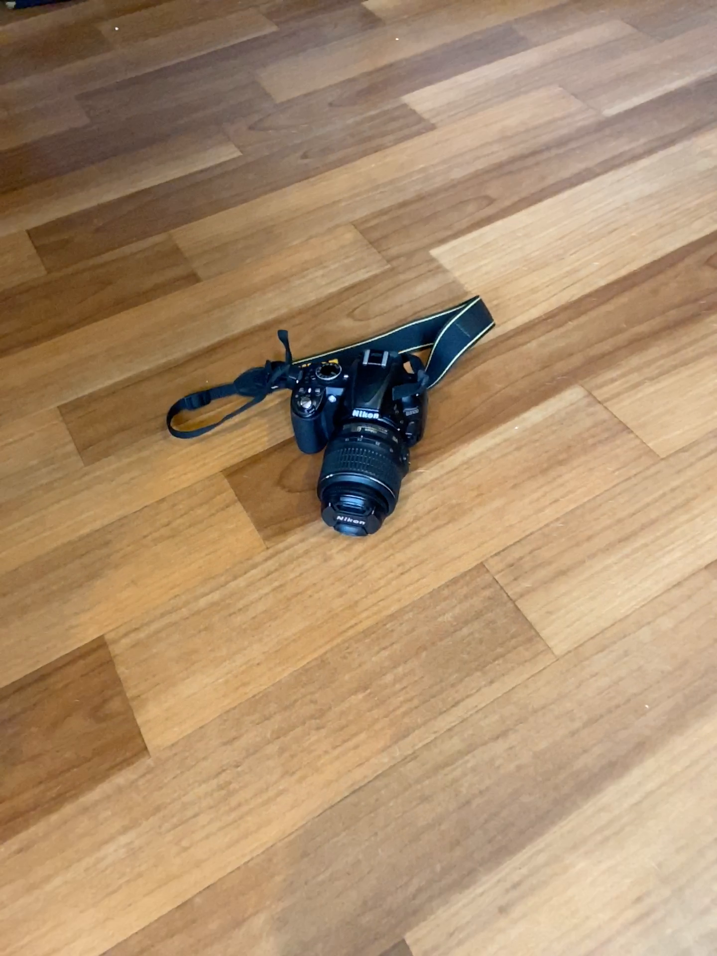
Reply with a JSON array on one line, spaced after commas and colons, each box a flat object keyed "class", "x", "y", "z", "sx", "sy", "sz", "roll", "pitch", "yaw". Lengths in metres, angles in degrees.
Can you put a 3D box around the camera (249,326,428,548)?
[{"class": "camera", "x": -0.009, "y": -0.038, "z": 0.639, "sx": 0.120, "sy": 0.090, "sz": 0.162, "roll": 6, "pitch": 55, "yaw": 8}]
